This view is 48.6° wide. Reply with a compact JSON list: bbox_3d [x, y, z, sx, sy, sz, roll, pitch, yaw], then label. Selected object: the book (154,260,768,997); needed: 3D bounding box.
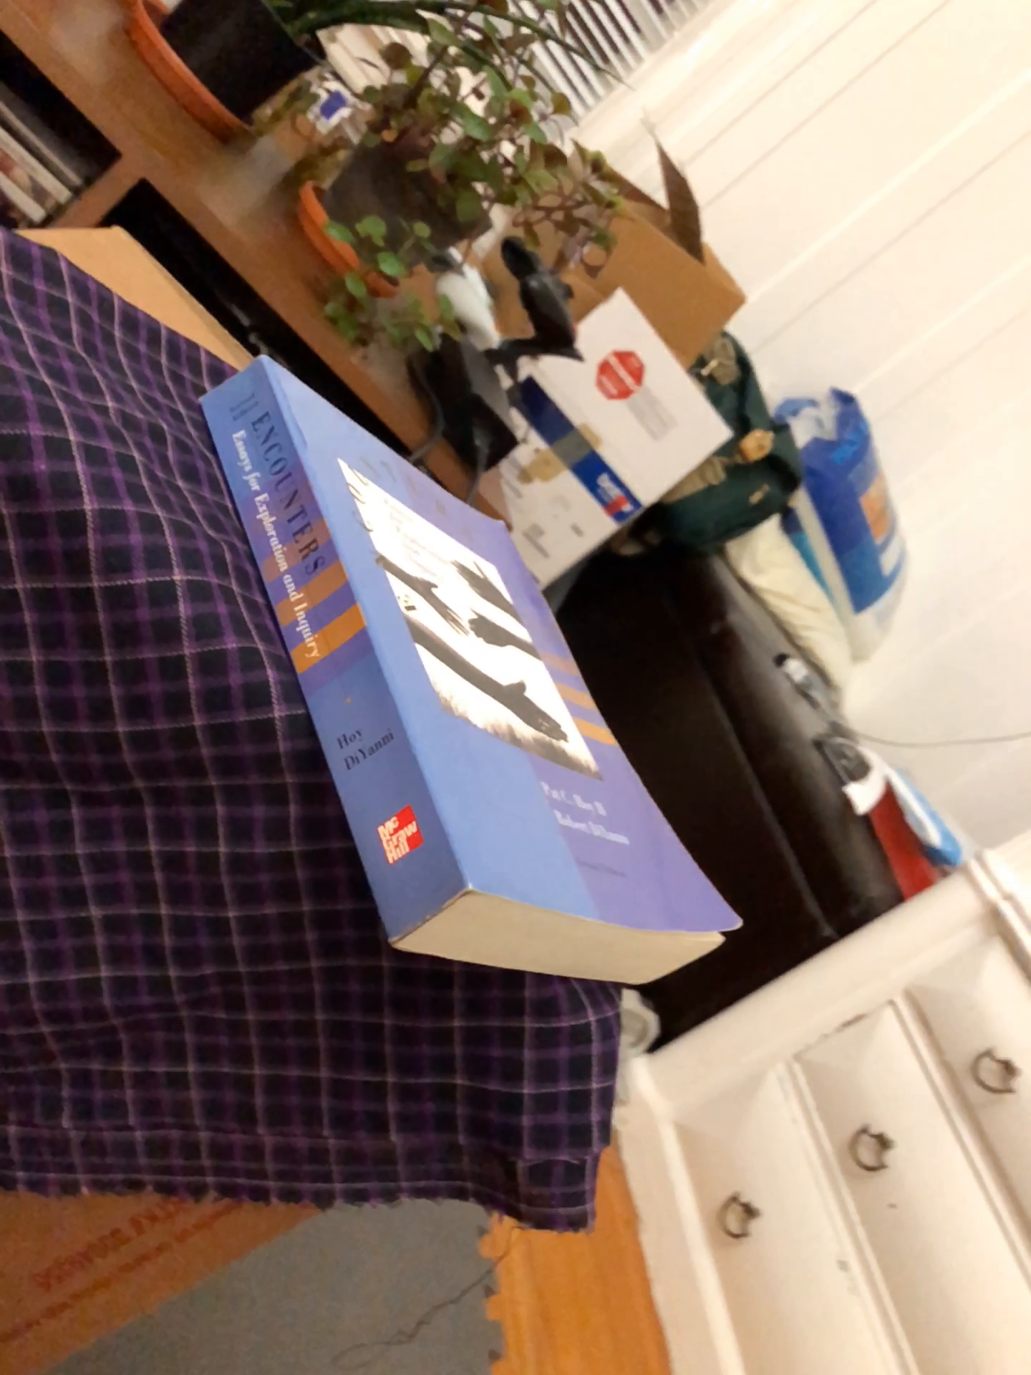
[{"bbox_3d":[-0.018,-0.016,0.436,0.200,0.040,0.261,29,29,-54],"label":"book"}]
